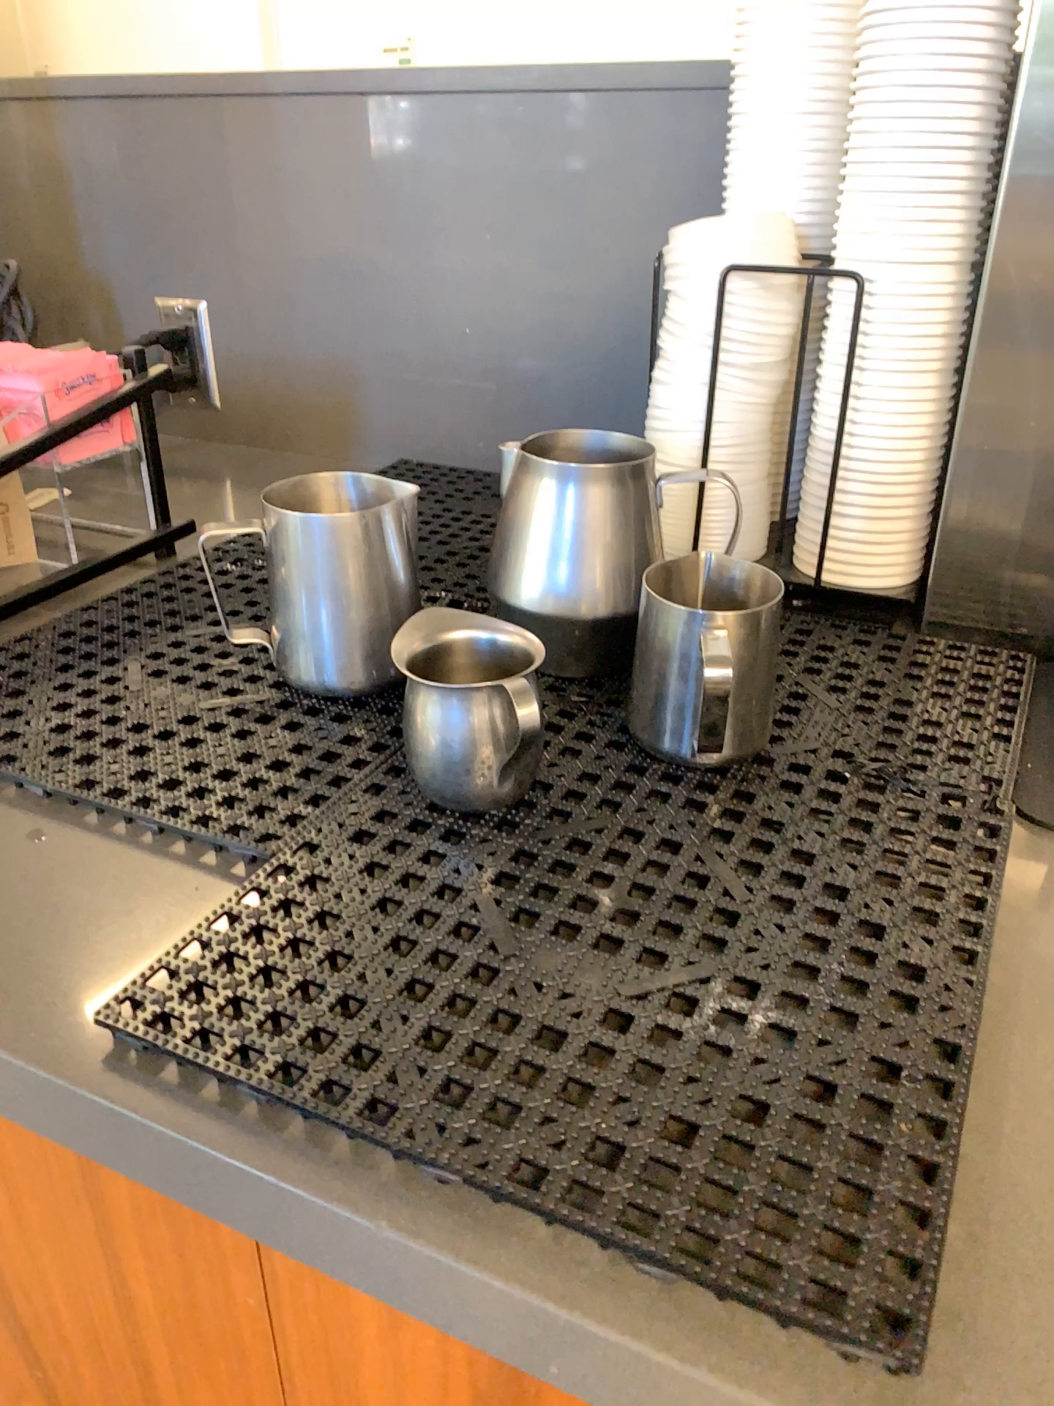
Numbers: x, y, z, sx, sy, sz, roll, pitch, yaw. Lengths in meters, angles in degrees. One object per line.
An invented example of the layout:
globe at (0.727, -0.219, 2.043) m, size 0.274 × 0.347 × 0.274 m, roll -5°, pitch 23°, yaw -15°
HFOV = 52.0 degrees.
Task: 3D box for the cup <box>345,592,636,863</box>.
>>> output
cup at (-0.020, 0.005, 0.489) m, size 0.080 × 0.060 × 0.121 m, roll -15°, pitch 31°, yaw -27°

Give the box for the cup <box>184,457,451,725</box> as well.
cup at (-0.114, -0.065, 0.594) m, size 0.120 × 0.109 × 0.080 m, roll -11°, pitch 29°, yaw -20°

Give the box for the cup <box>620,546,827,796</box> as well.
cup at (0.089, -0.019, 0.527) m, size 0.080 × 0.080 × 0.111 m, roll 1°, pitch 28°, yaw 2°

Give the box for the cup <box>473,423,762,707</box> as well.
cup at (0.054, -0.084, 0.633) m, size 0.150 × 0.129 × 0.101 m, roll 5°, pitch 28°, yaw 9°
